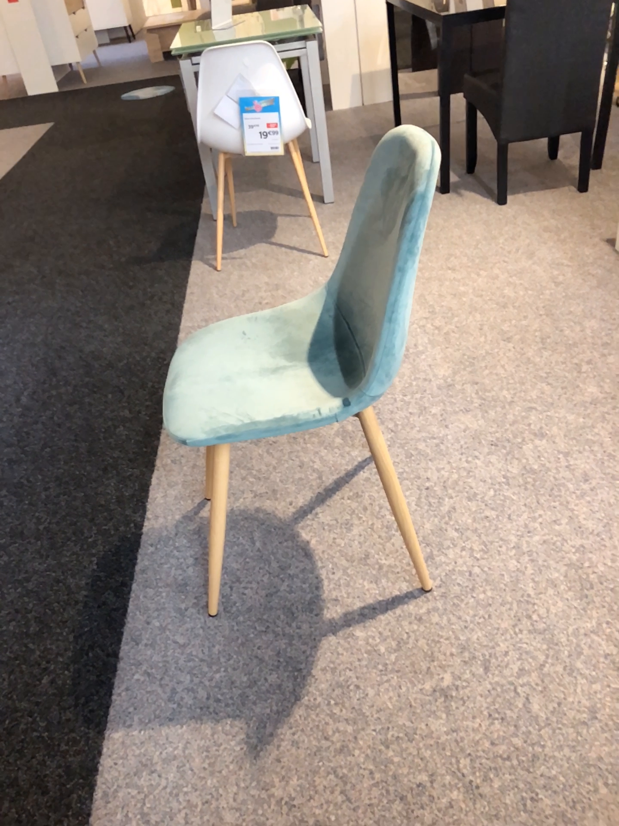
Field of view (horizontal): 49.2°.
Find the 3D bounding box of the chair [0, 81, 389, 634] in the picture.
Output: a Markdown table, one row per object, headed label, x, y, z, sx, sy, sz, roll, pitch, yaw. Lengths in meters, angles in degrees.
| label | x | y | z | sx | sy | sz | roll | pitch | yaw |
| --- | --- | --- | --- | --- | --- | --- | --- | --- | --- |
| chair | -0.205 | -0.097 | 1.300 | 0.550 | 0.835 | 0.472 | -13 | 36 | -6 |
